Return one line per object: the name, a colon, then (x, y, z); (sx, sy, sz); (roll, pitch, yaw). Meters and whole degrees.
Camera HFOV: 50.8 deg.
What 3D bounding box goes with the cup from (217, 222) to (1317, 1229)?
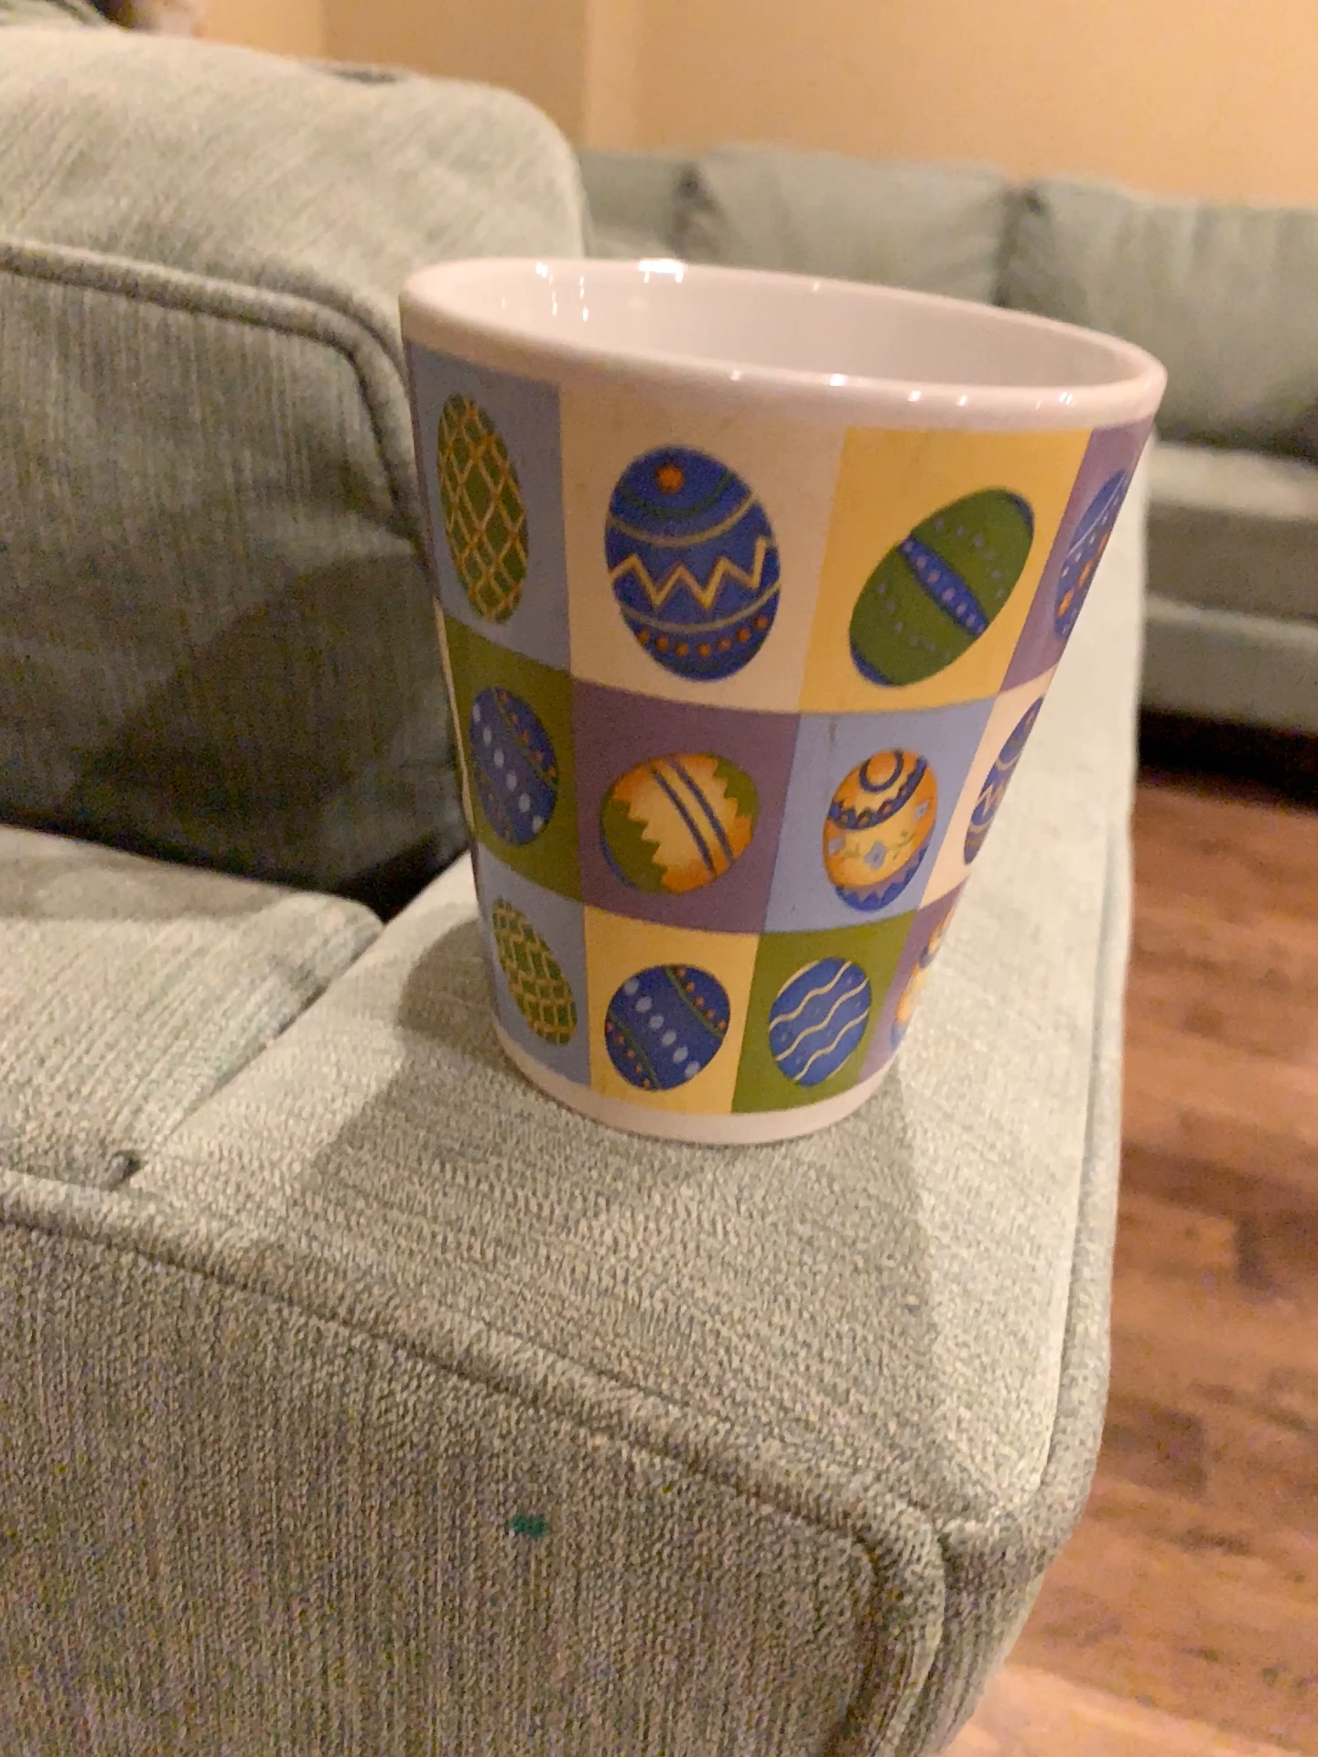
cup: (0.003, -0.036, 0.197); (0.095, 0.087, 0.123); (-10, 32, -27)
